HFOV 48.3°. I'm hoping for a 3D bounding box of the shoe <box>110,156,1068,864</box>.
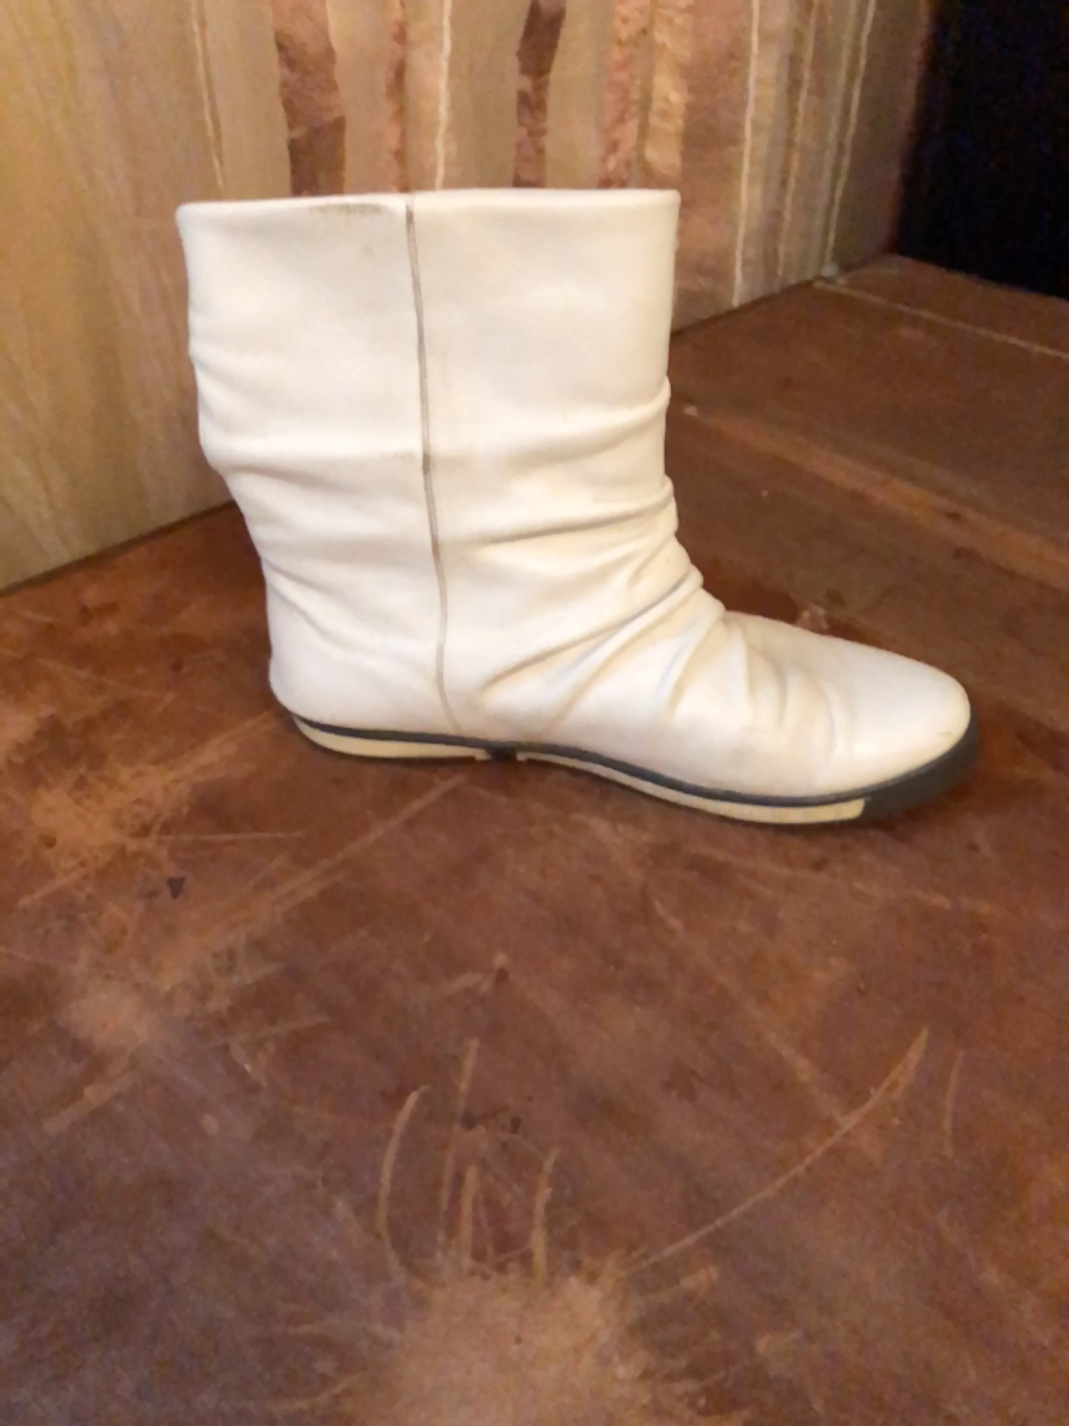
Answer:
[{"bbox_3d":[0.019,-0.064,0.367,0.240,0.169,0.090,8,38,11],"label":"shoe"}]
